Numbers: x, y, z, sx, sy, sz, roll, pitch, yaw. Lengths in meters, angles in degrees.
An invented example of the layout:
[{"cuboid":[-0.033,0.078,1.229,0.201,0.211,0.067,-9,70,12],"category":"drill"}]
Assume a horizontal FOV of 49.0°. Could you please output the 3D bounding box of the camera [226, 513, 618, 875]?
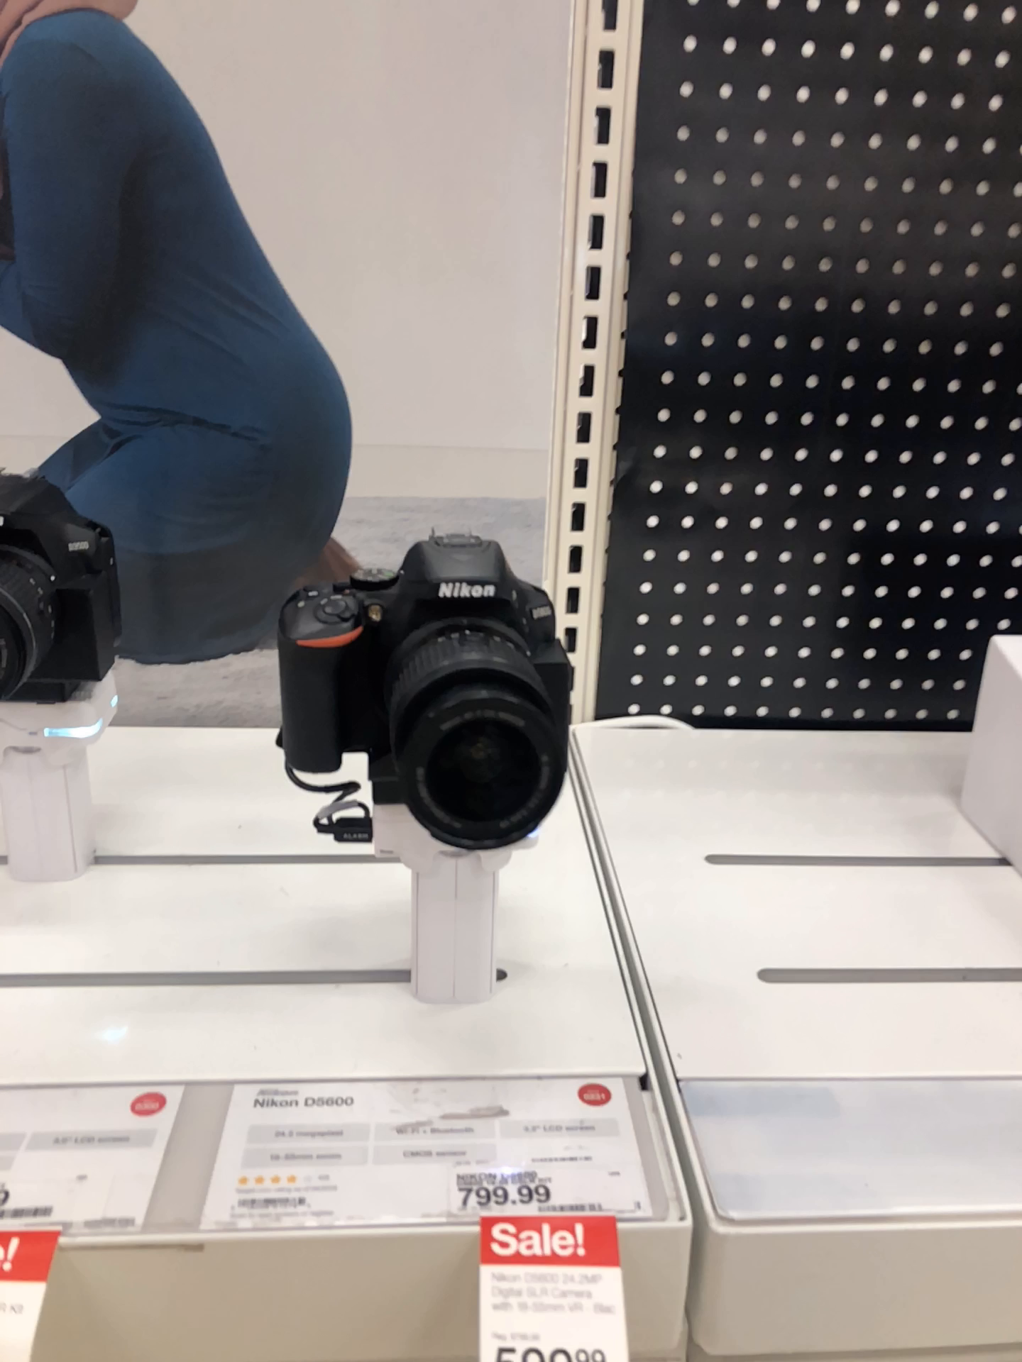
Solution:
[{"cuboid":[-0.038,-0.004,0.467,0.130,0.090,0.171,0,22,-6],"category":"camera"}]
